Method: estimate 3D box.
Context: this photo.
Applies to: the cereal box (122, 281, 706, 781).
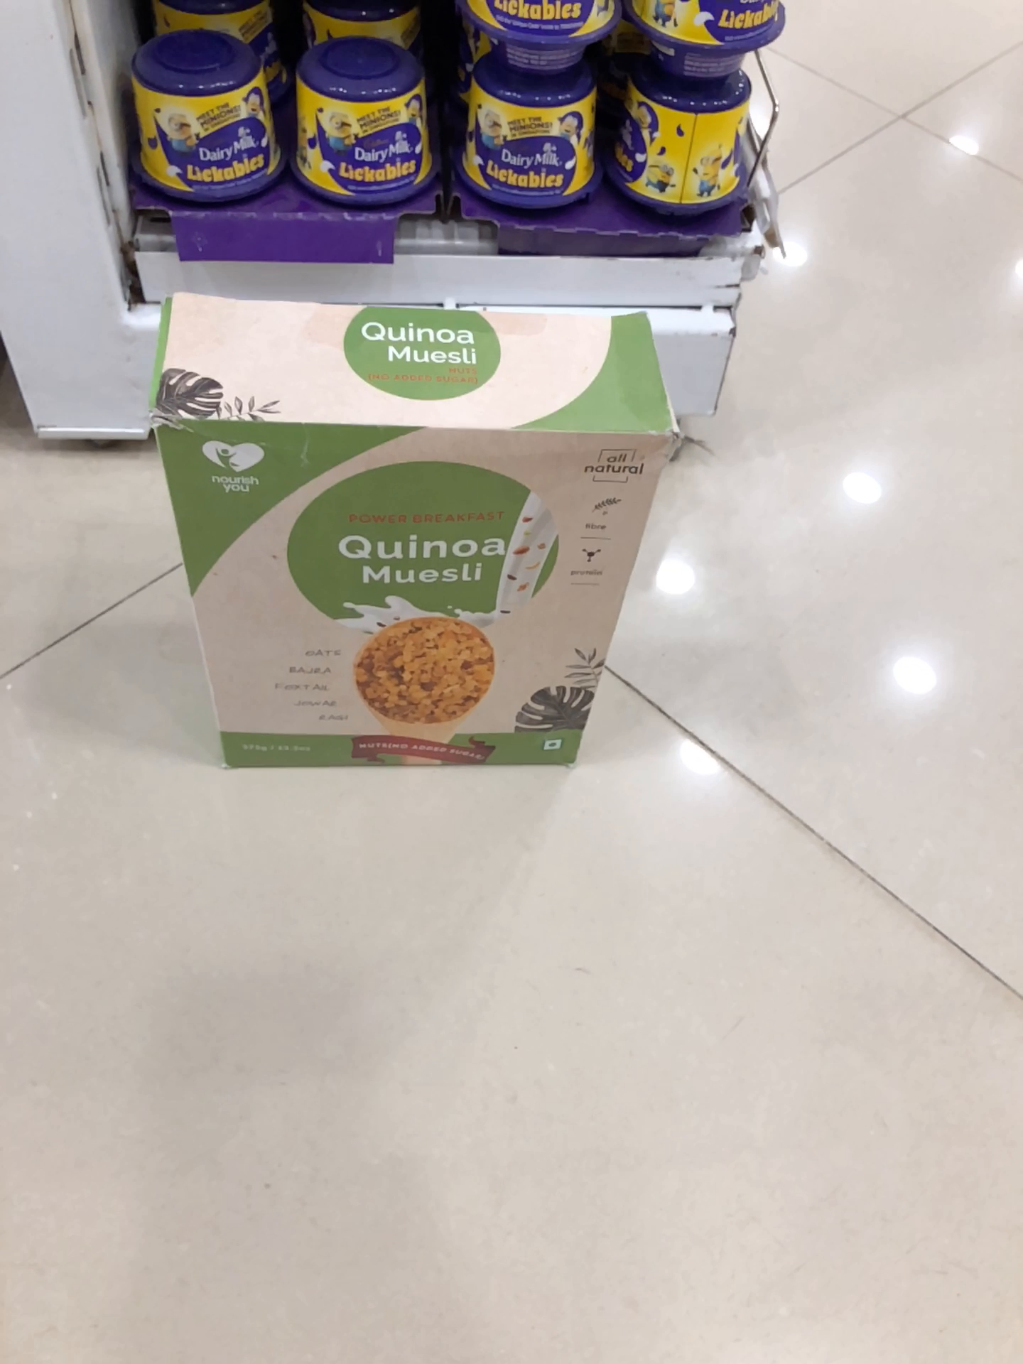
[{"bbox_3d":[-0.036,-0.040,0.405,0.160,0.189,0.060,0,55,-7],"label":"cereal box"}]
